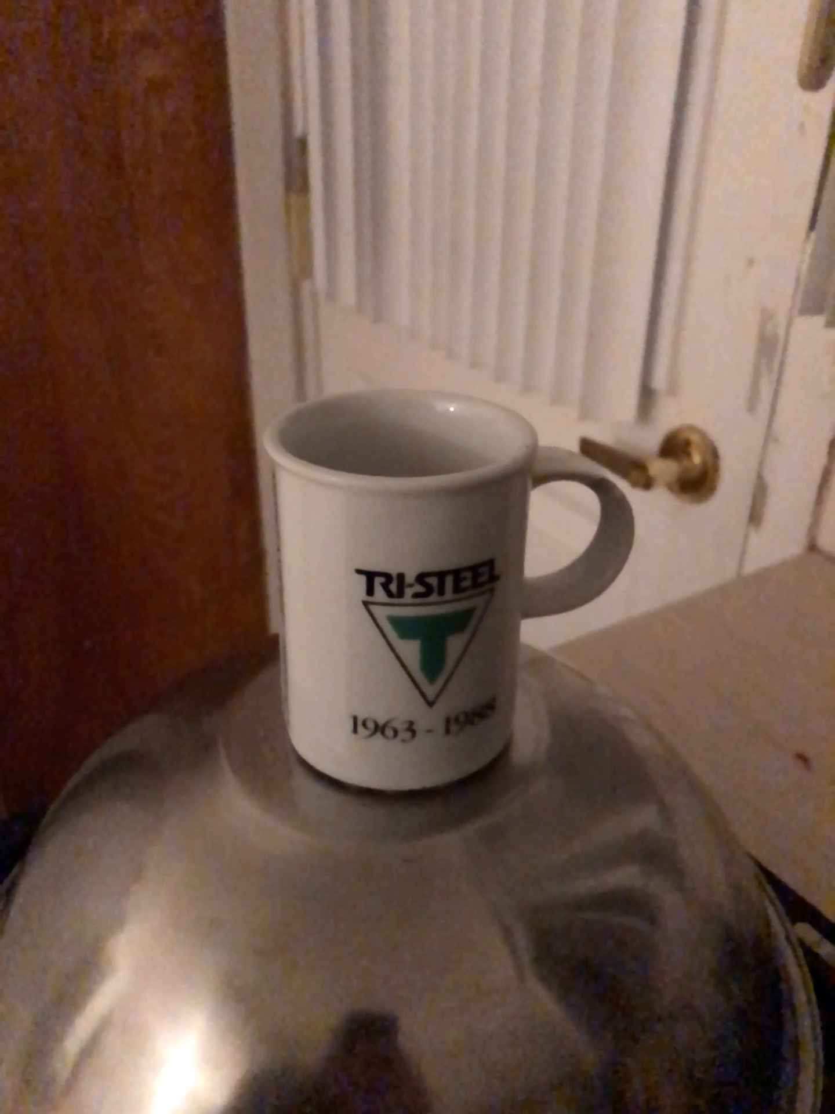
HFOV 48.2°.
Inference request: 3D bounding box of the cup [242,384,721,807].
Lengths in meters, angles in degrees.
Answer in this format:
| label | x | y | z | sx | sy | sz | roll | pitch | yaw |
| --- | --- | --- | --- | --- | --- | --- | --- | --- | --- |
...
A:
| label | x | y | z | sx | sy | sz | roll | pitch | yaw |
| --- | --- | --- | --- | --- | --- | --- | --- | --- | --- |
| cup | 0.013 | 0.009 | 0.278 | 0.116 | 0.099 | 0.071 | -2 | 29 | -5 |
